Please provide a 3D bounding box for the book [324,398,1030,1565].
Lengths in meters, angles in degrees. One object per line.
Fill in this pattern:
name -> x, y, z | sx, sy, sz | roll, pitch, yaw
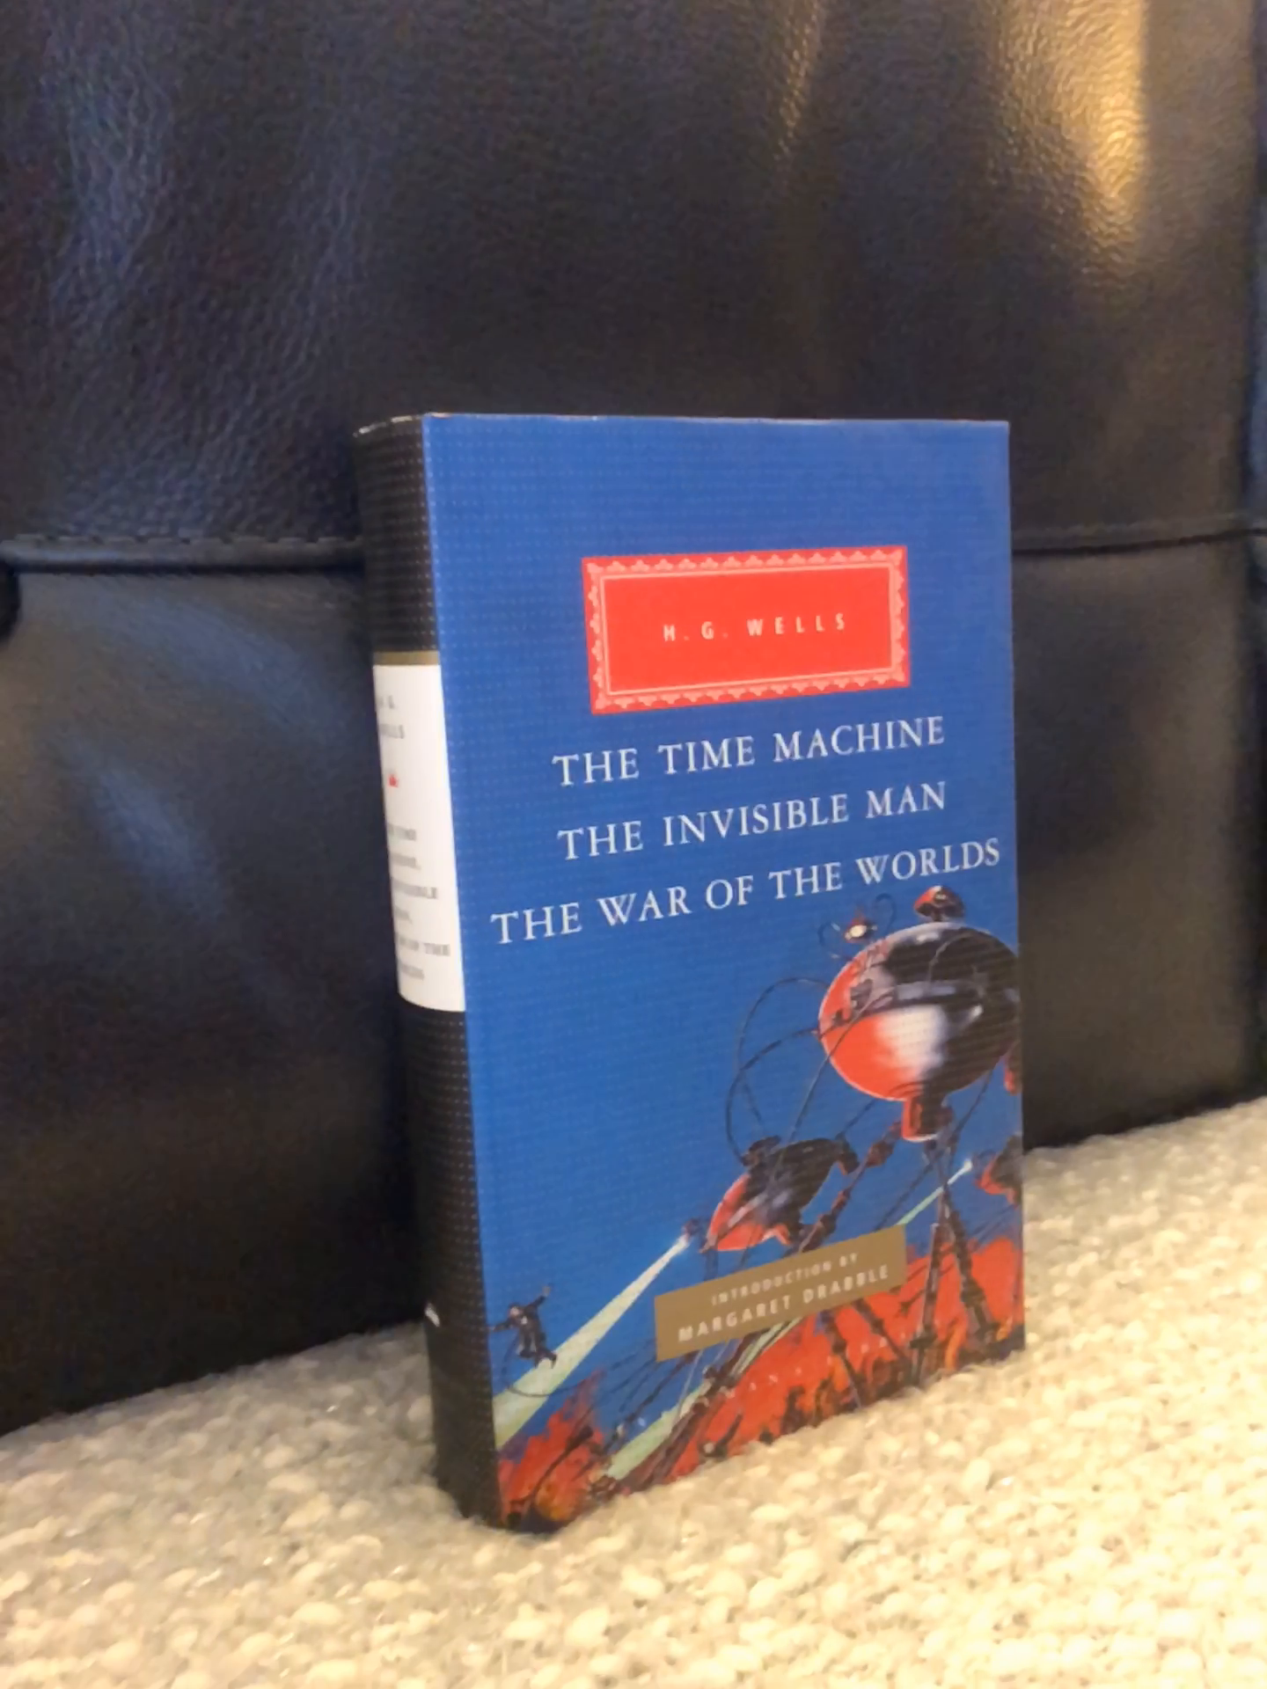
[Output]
book -> 0.019, 0.021, 0.315 | 0.148, 0.225, 0.034 | -8, 10, -28
